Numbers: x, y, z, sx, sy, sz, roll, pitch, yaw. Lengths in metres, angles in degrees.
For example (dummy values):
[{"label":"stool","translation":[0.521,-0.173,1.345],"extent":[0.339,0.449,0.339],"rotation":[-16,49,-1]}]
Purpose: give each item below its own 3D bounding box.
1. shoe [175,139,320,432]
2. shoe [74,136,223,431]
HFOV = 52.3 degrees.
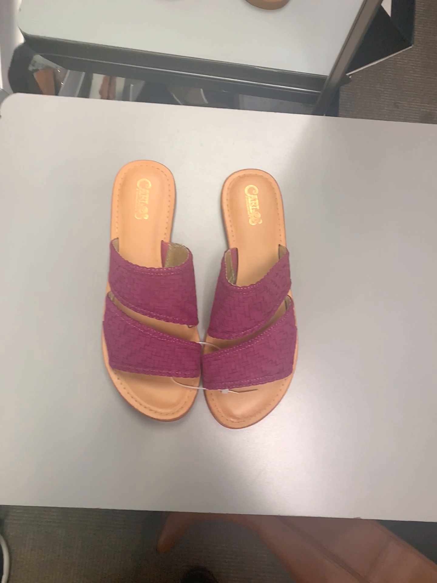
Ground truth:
[{"label":"shoe","translation":[0.026,-0.005,0.399],"extent":[0.108,0.071,0.238],"rotation":[4,77,-4]},{"label":"shoe","translation":[-0.062,-0.009,0.393],"extent":[0.108,0.071,0.238],"rotation":[-3,77,-5]}]
